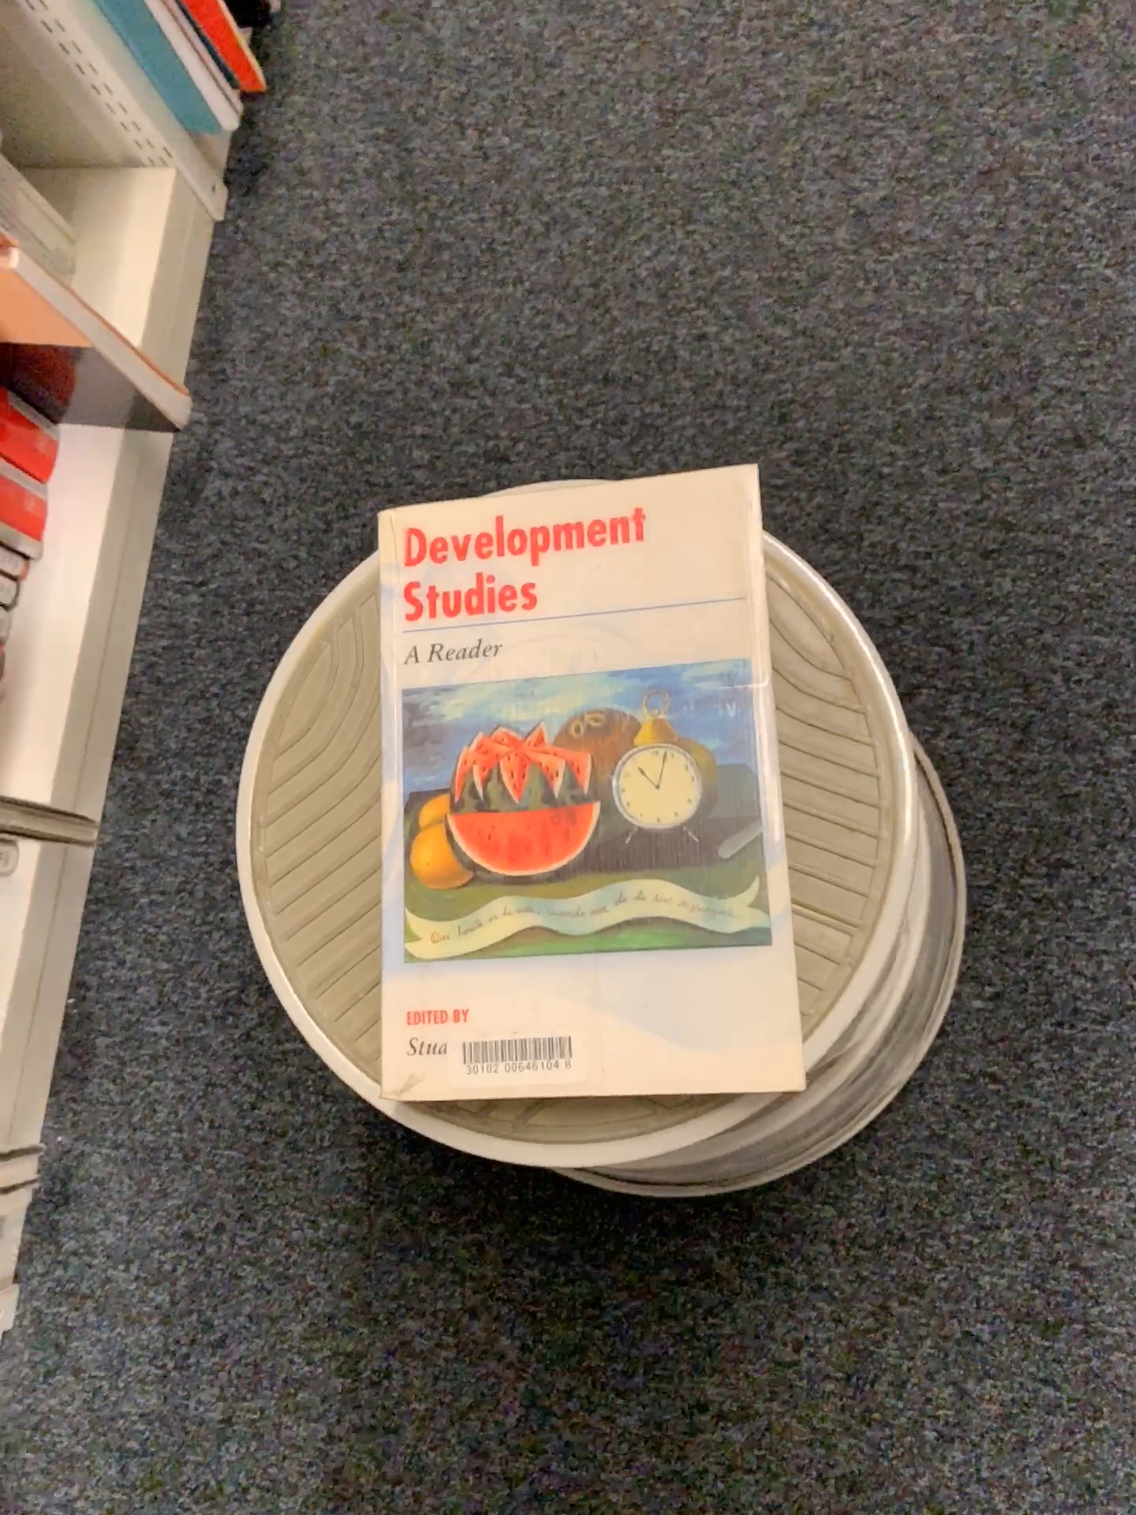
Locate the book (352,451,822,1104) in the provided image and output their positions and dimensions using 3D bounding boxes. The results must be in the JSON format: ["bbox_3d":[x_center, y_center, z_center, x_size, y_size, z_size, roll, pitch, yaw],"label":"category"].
[{"bbox_3d":[0.004,0.009,0.436,0.159,0.046,0.225,-4,79,9],"label":"book"}]
